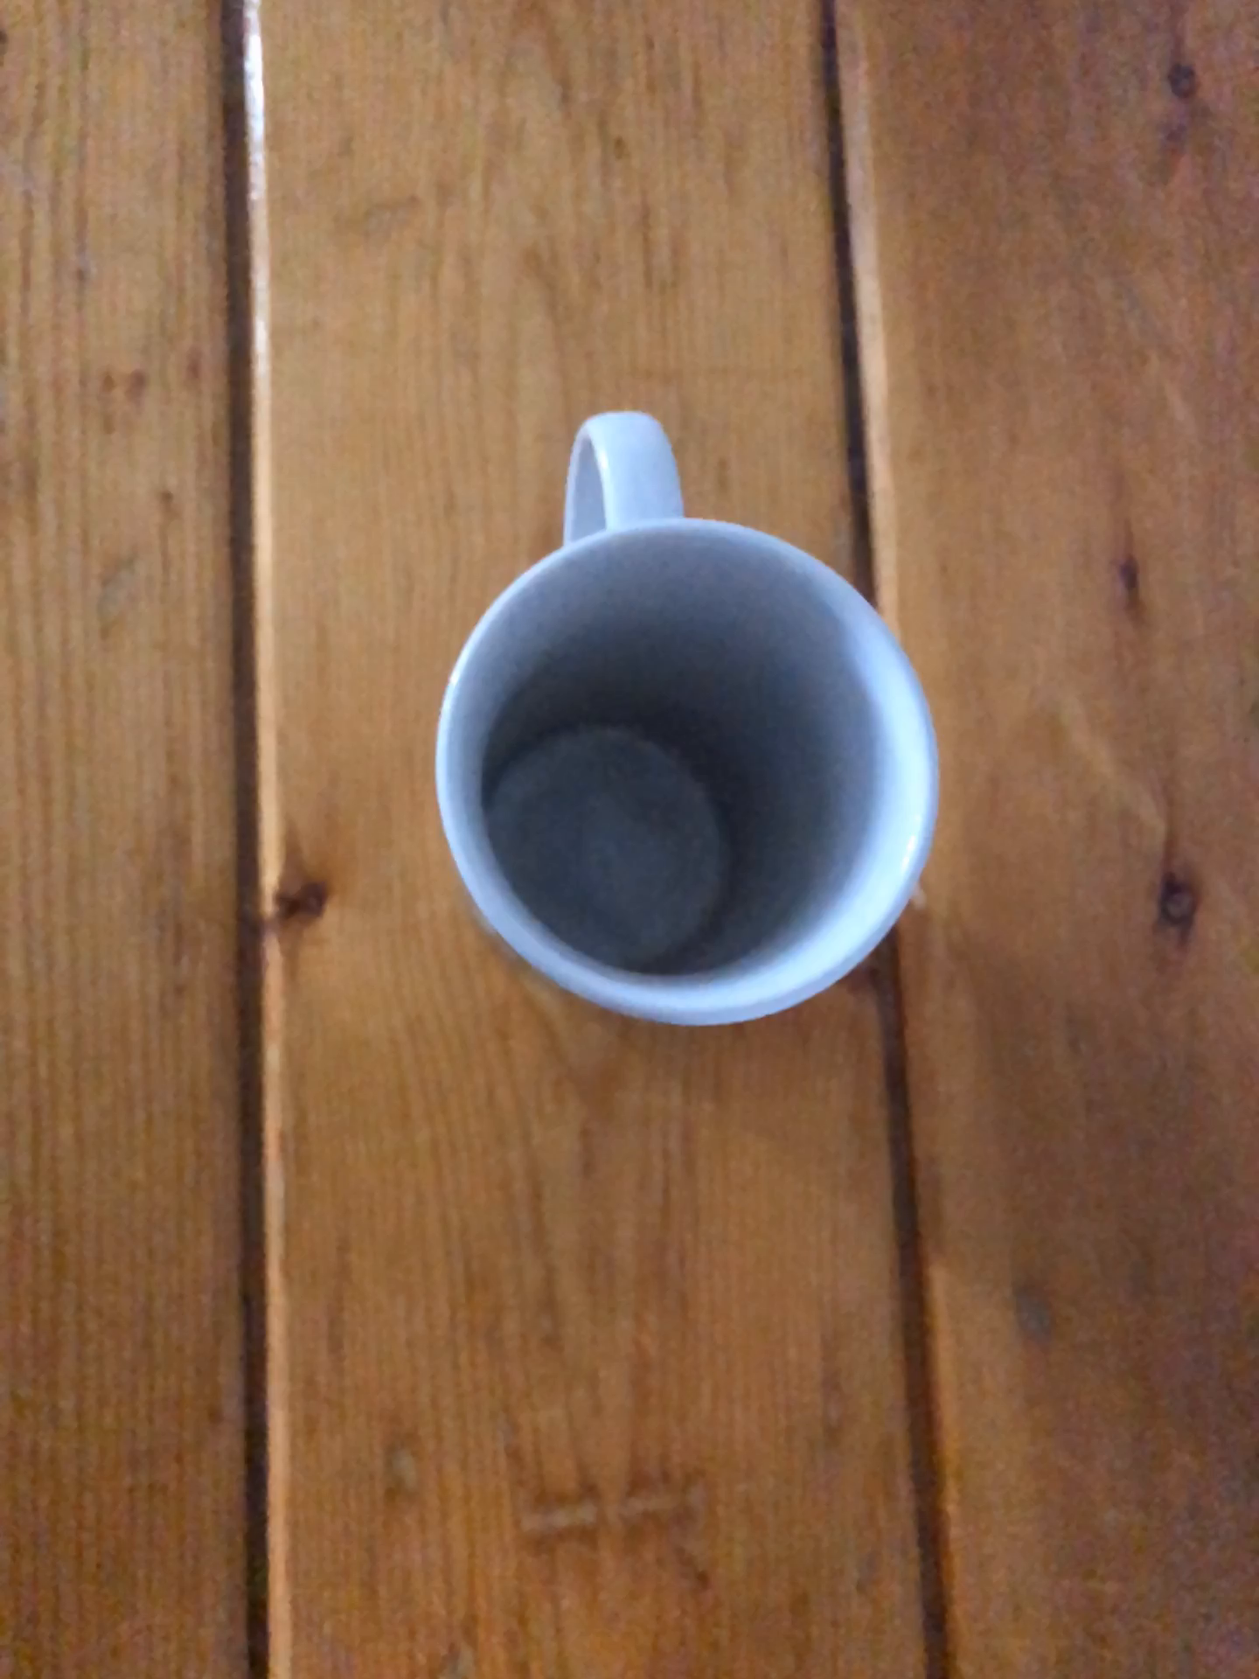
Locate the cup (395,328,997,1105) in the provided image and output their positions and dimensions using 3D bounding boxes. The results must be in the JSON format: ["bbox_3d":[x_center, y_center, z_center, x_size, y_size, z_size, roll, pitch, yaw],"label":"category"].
[{"bbox_3d":[0.004,-0.018,0.305,0.090,0.120,0.130,-7,84,-9],"label":"cup"}]
